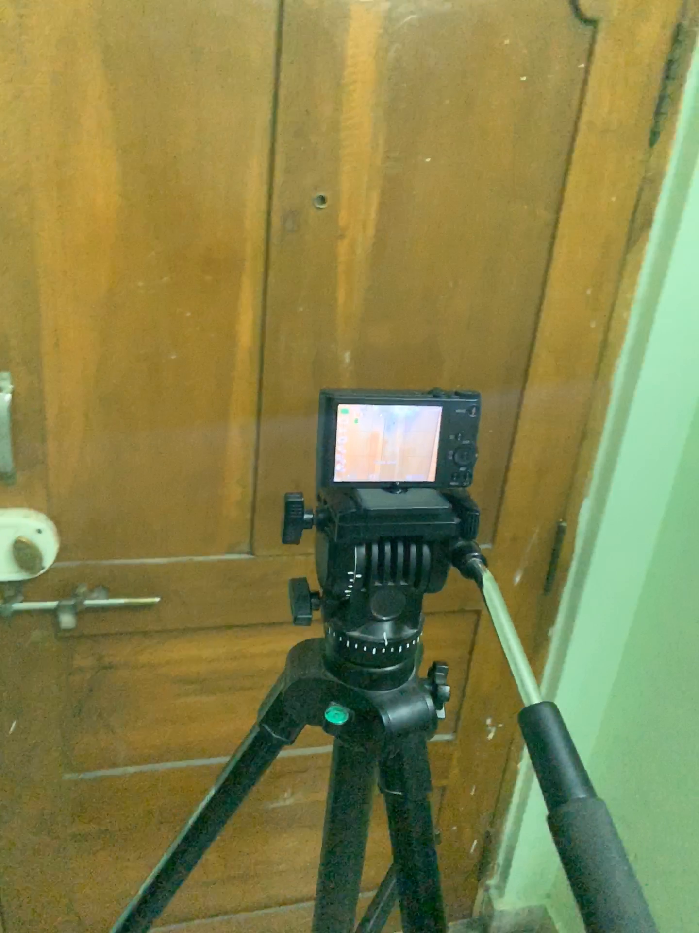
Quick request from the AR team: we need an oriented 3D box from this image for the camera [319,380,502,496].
[{"bbox_3d":[0.036,-0.018,0.442,0.100,0.060,0.040,1,16,-12],"label":"camera"}]
